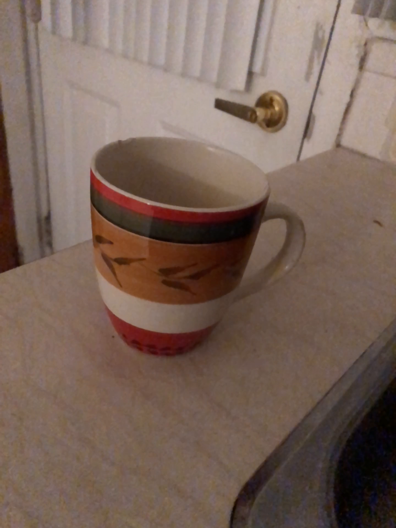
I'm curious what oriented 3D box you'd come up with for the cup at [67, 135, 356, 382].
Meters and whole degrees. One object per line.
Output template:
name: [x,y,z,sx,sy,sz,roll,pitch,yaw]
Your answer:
cup: [-0.003,-0.013,0.287,0.143,0.109,0.101,-6,36,-22]
